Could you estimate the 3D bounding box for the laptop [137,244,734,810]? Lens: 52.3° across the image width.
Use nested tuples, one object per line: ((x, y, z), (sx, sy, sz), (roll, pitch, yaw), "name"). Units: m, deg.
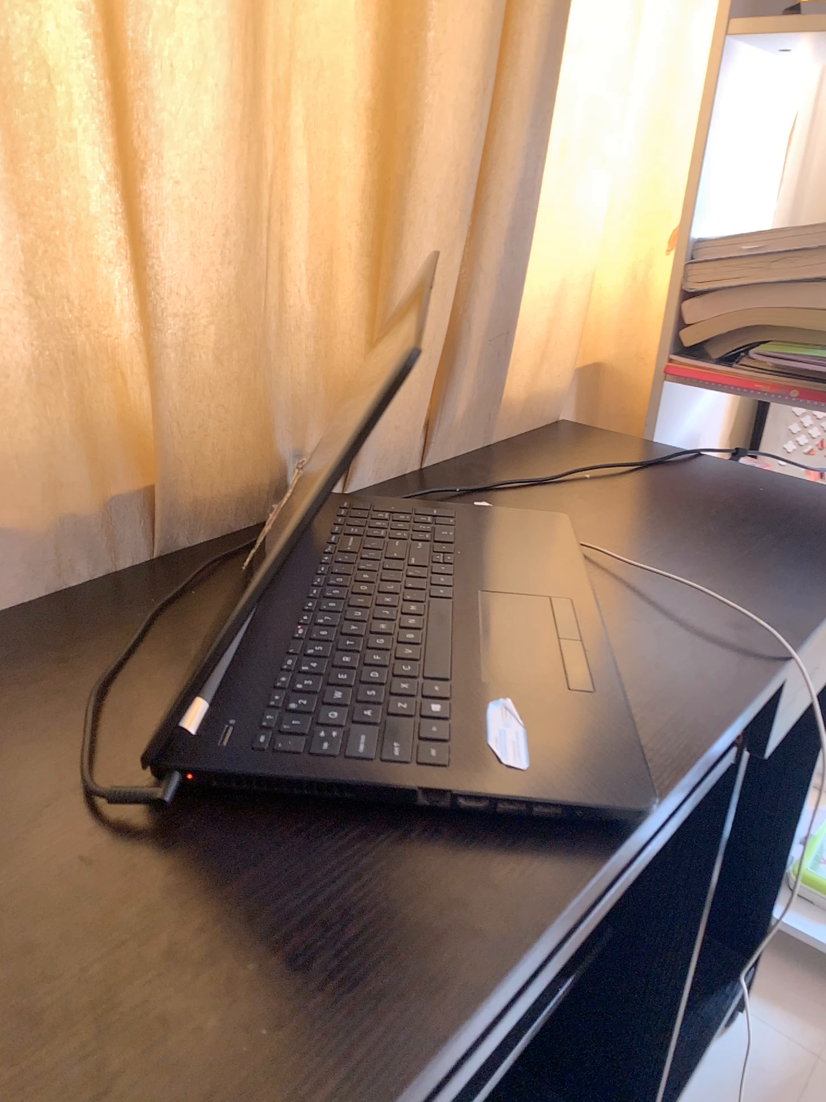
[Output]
((0.017, -0.057, 0.536), (0.237, 0.201, 0.365), (5, 26, 2), "laptop")
